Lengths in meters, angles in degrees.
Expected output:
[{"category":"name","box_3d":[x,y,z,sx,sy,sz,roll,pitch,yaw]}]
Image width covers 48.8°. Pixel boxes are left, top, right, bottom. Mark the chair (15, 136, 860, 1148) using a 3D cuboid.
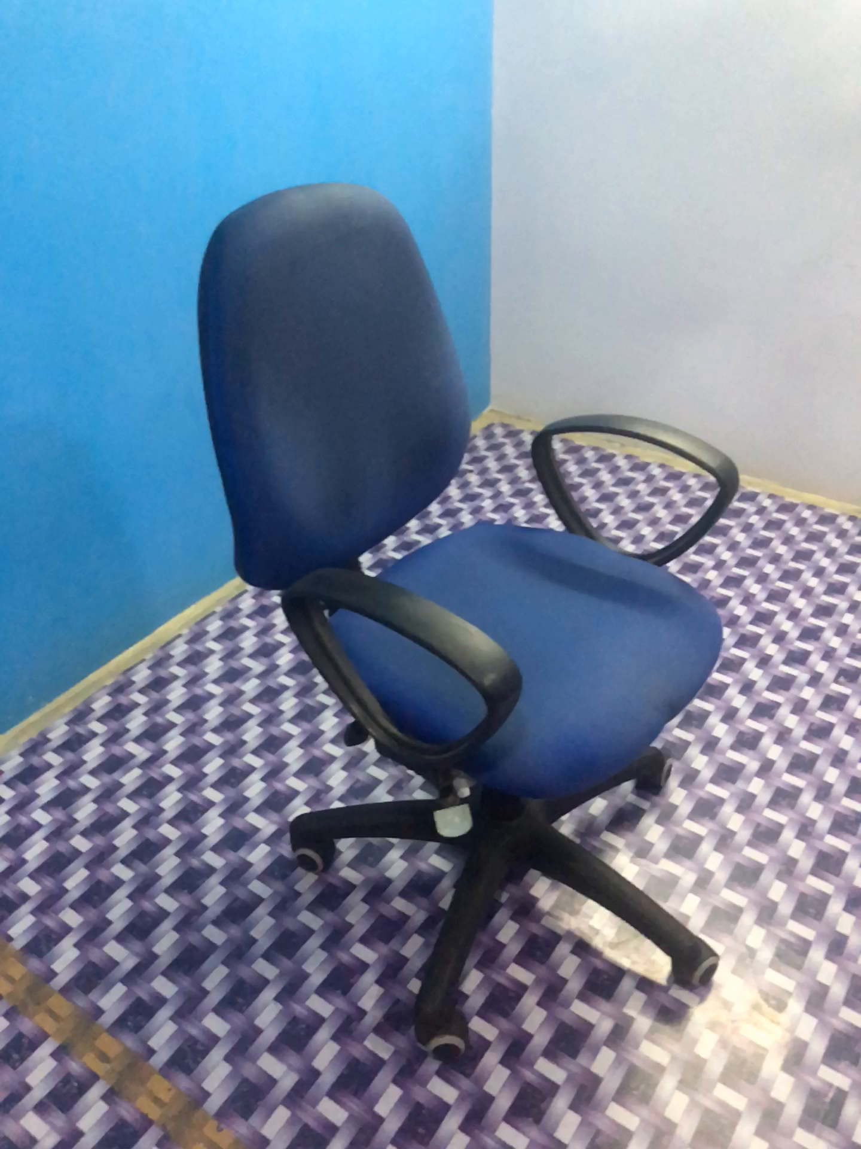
[{"category":"chair","box_3d":[0.104,0.029,1.178,0.690,0.915,0.703,24,40,33]}]
